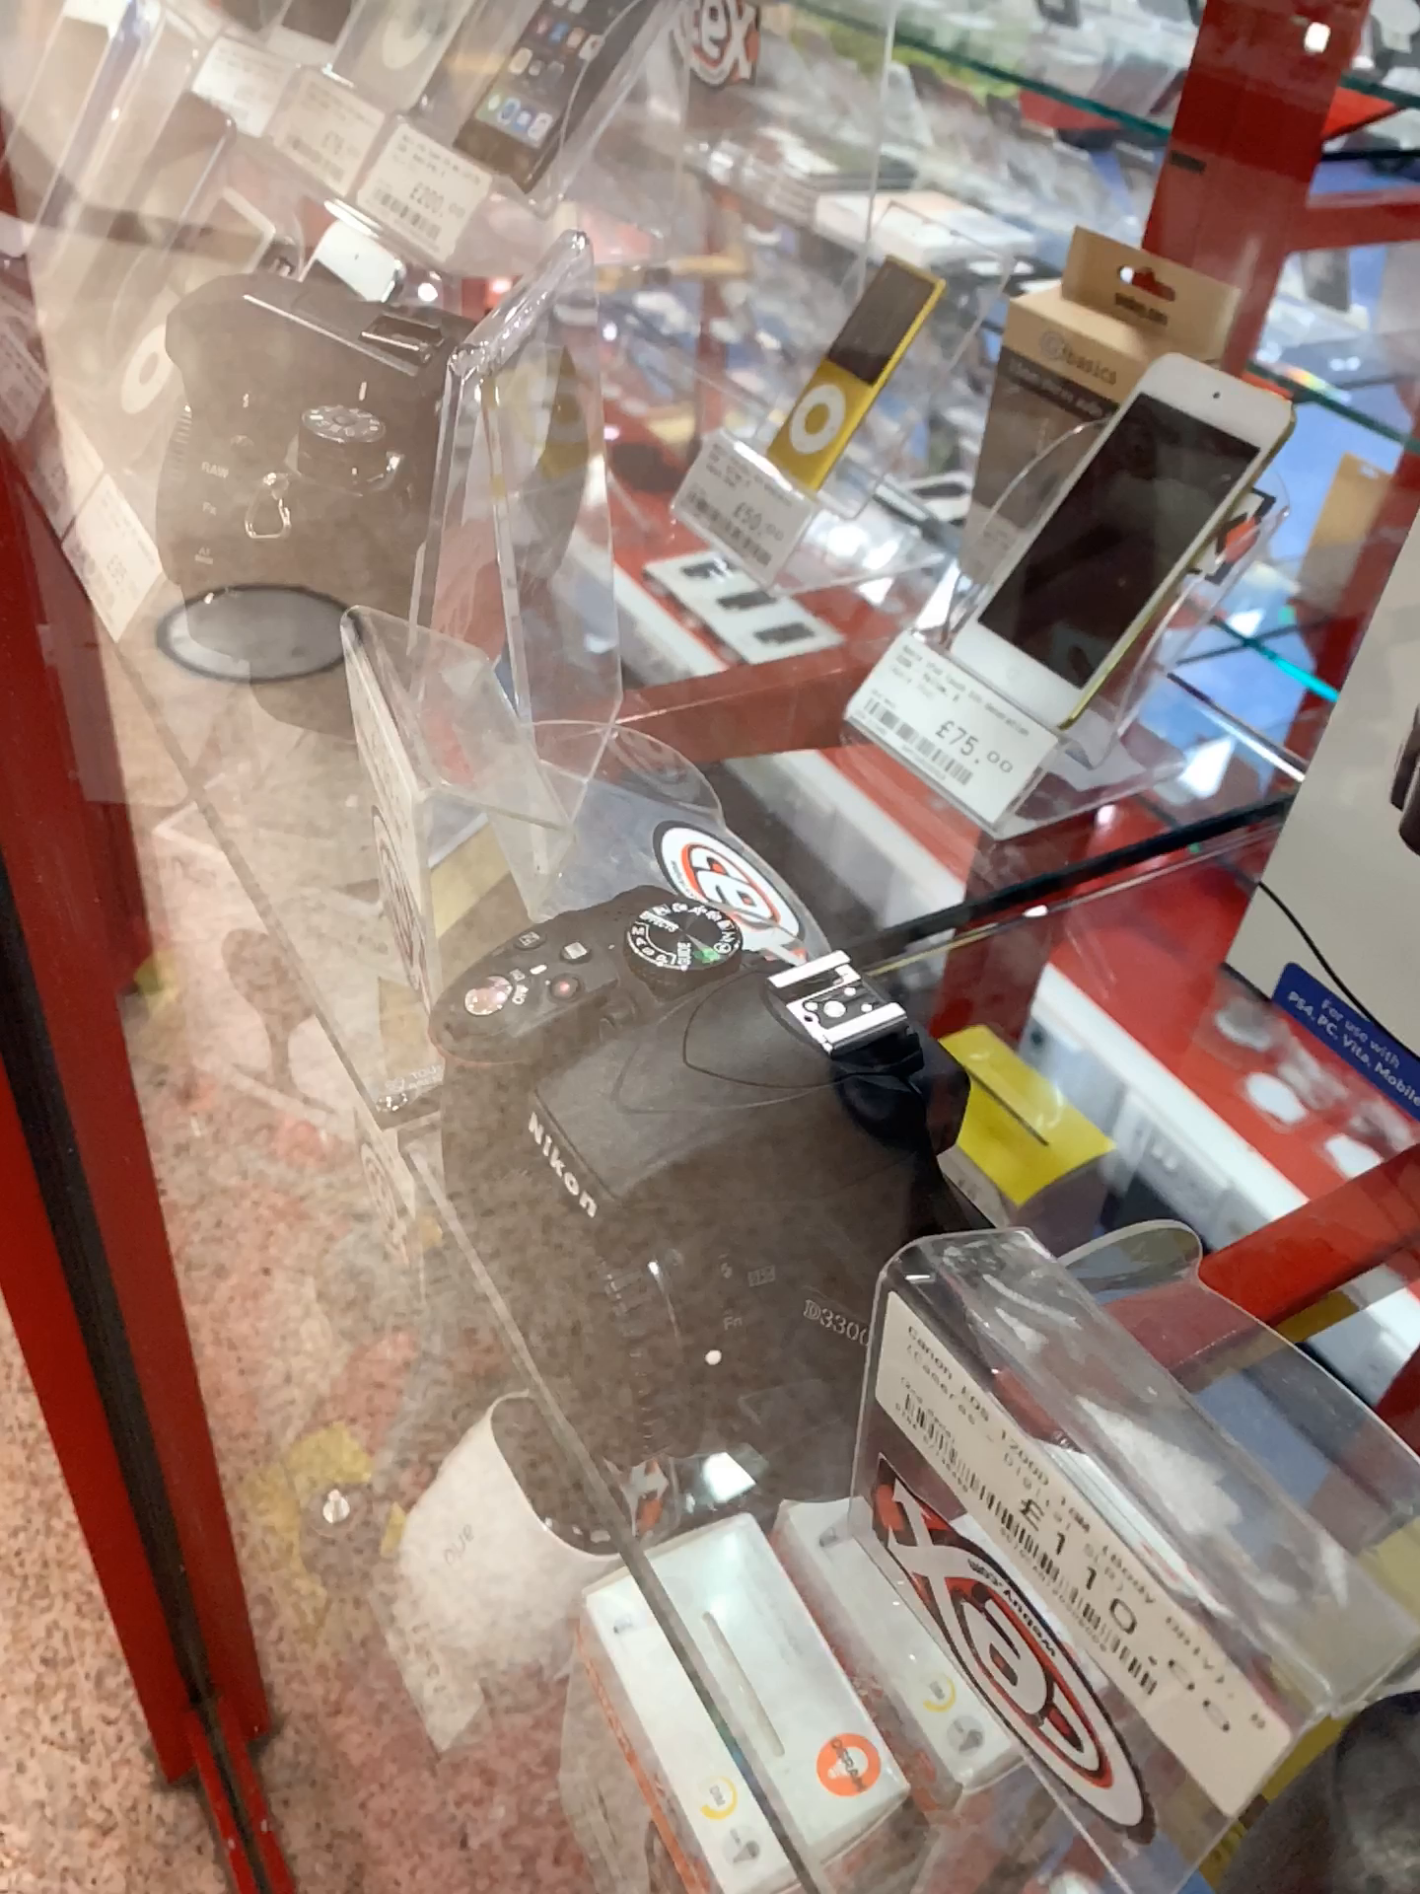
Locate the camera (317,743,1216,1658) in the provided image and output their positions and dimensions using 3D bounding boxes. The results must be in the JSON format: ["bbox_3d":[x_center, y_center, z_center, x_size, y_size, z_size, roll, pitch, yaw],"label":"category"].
[{"bbox_3d":[0.003,0.038,0.294,0.110,0.079,0.131,-22,48,-30],"label":"camera"}]
